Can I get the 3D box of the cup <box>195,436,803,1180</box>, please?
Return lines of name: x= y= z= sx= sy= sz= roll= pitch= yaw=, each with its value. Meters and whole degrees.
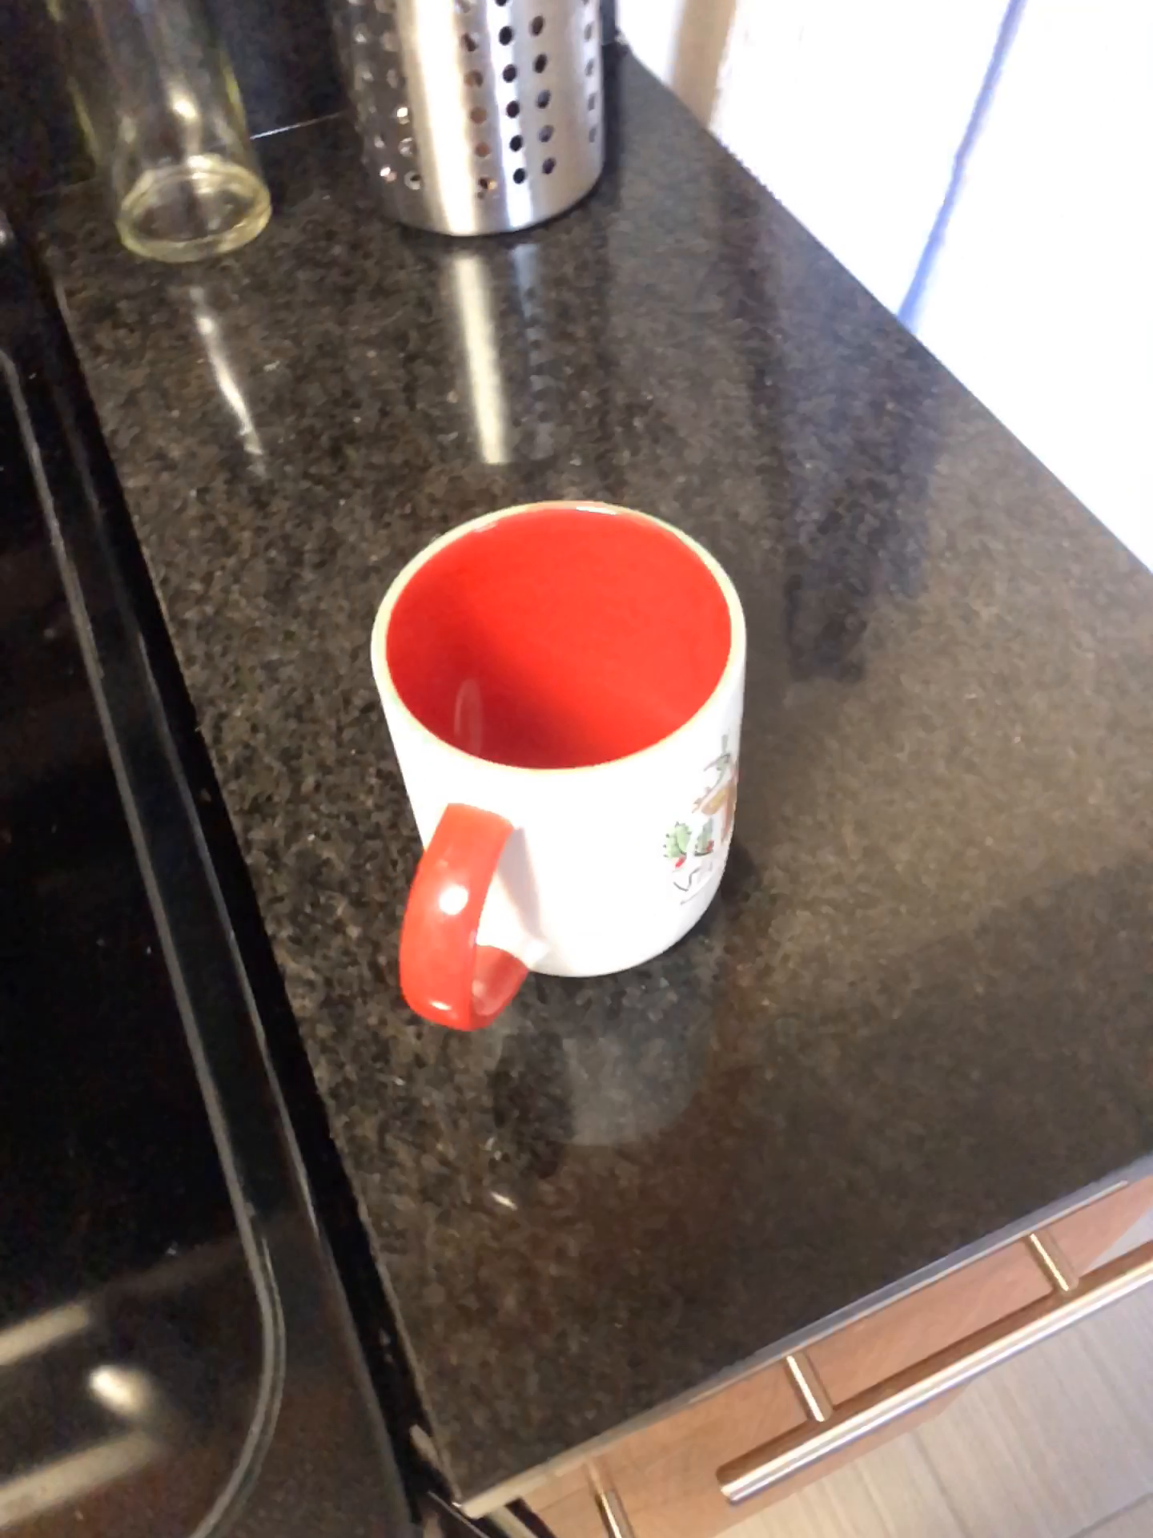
cup: x=-0.008 y=0.009 z=0.321 sx=0.090 sy=0.110 sz=0.130 roll=15 pitch=56 yaw=14
